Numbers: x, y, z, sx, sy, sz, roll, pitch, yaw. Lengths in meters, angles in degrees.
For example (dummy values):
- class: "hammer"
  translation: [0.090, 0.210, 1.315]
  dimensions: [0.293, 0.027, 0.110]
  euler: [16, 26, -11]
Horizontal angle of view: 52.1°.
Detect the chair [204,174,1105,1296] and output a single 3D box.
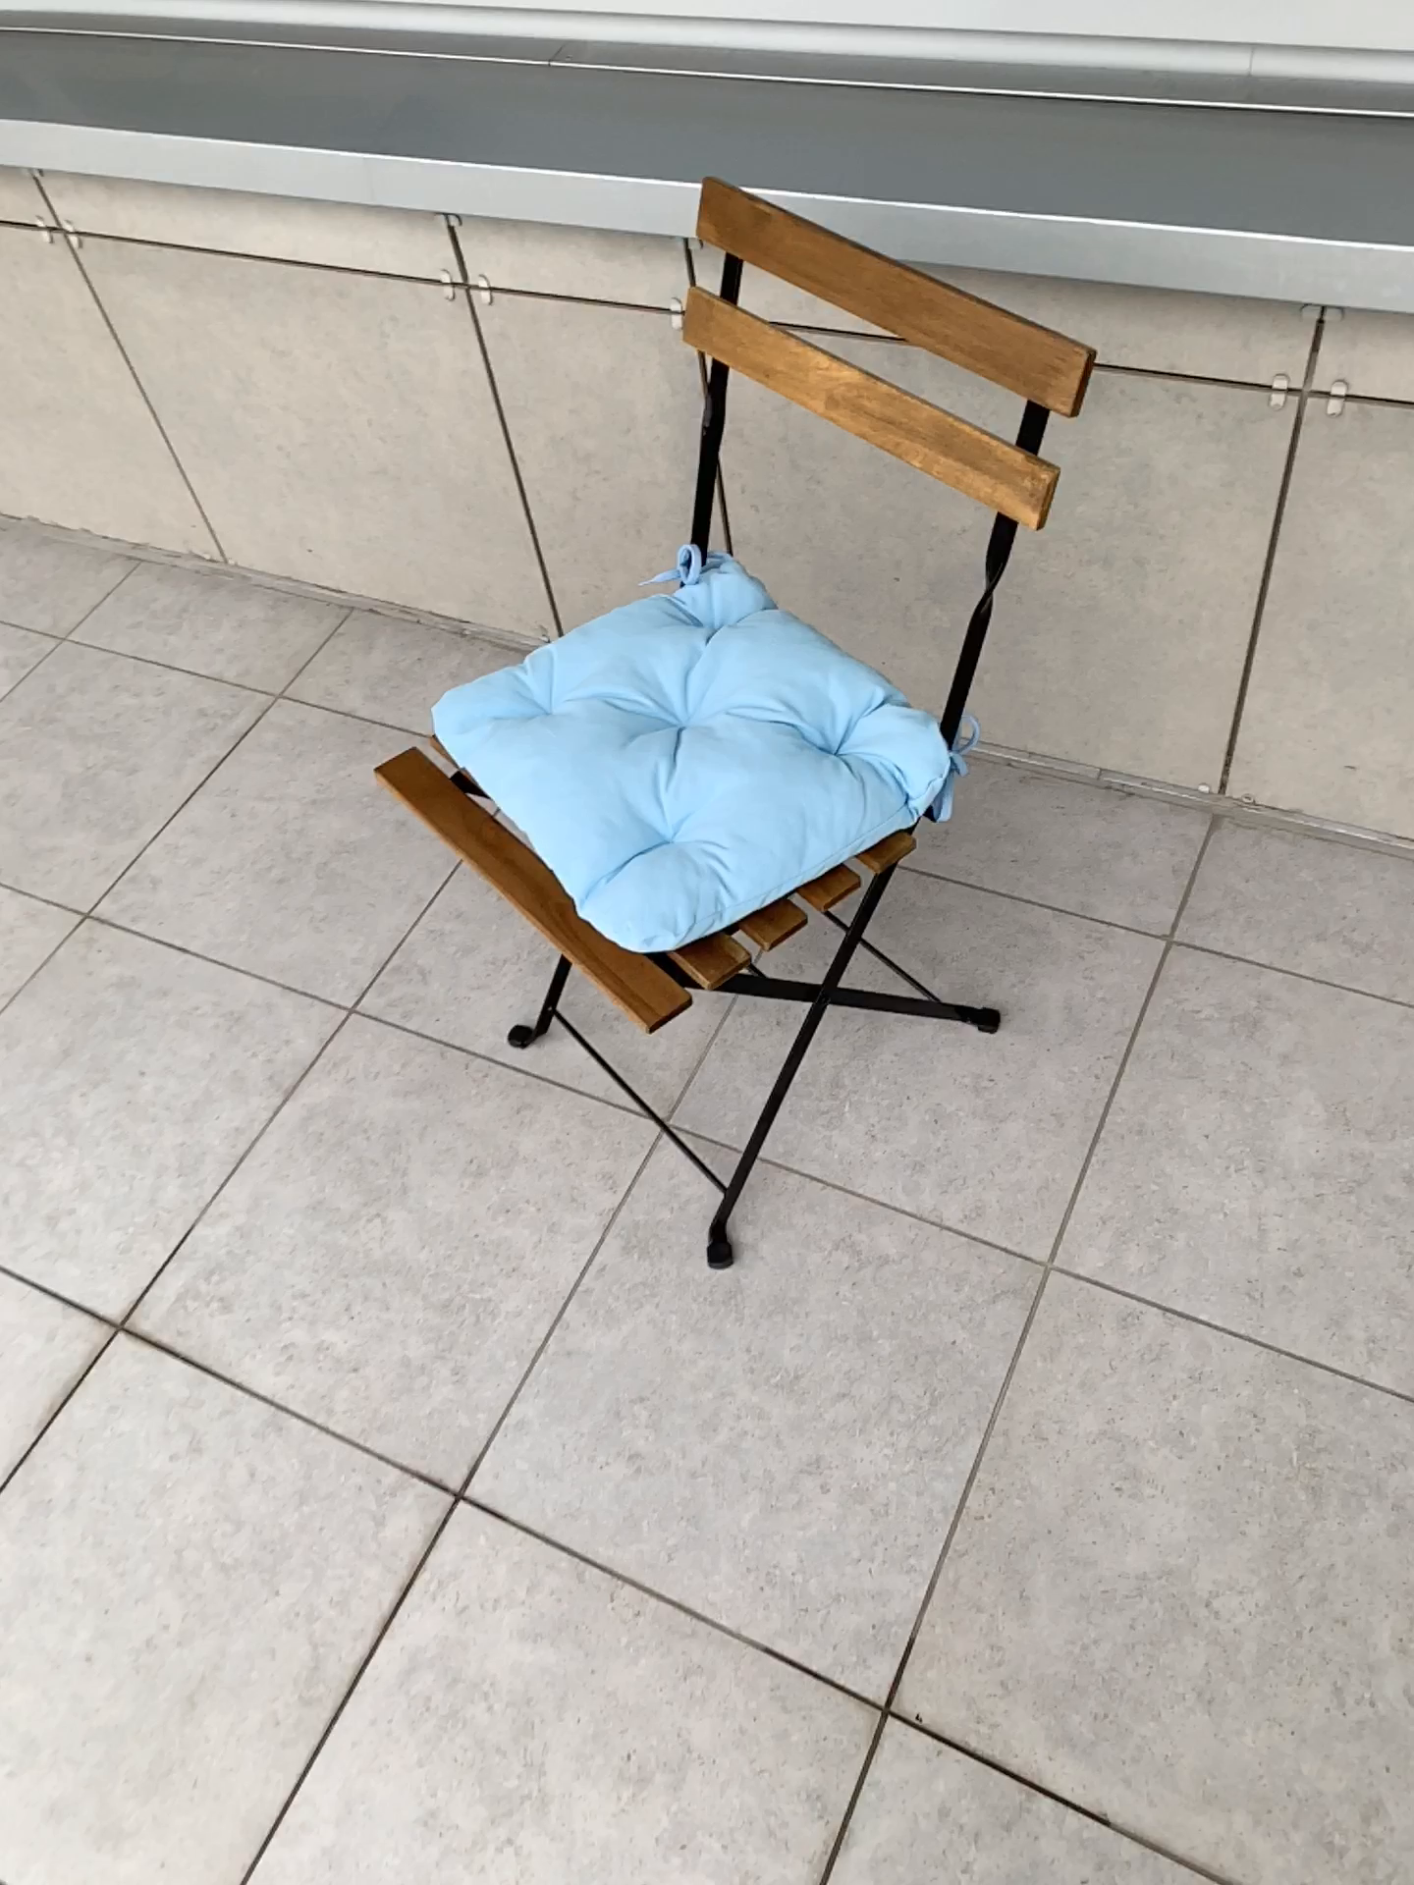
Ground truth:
- class: "chair"
  translation: [0.001, -0.141, 1.258]
  dimensions: [0.452, 0.749, 0.418]
  euler: [-36, 54, -18]
